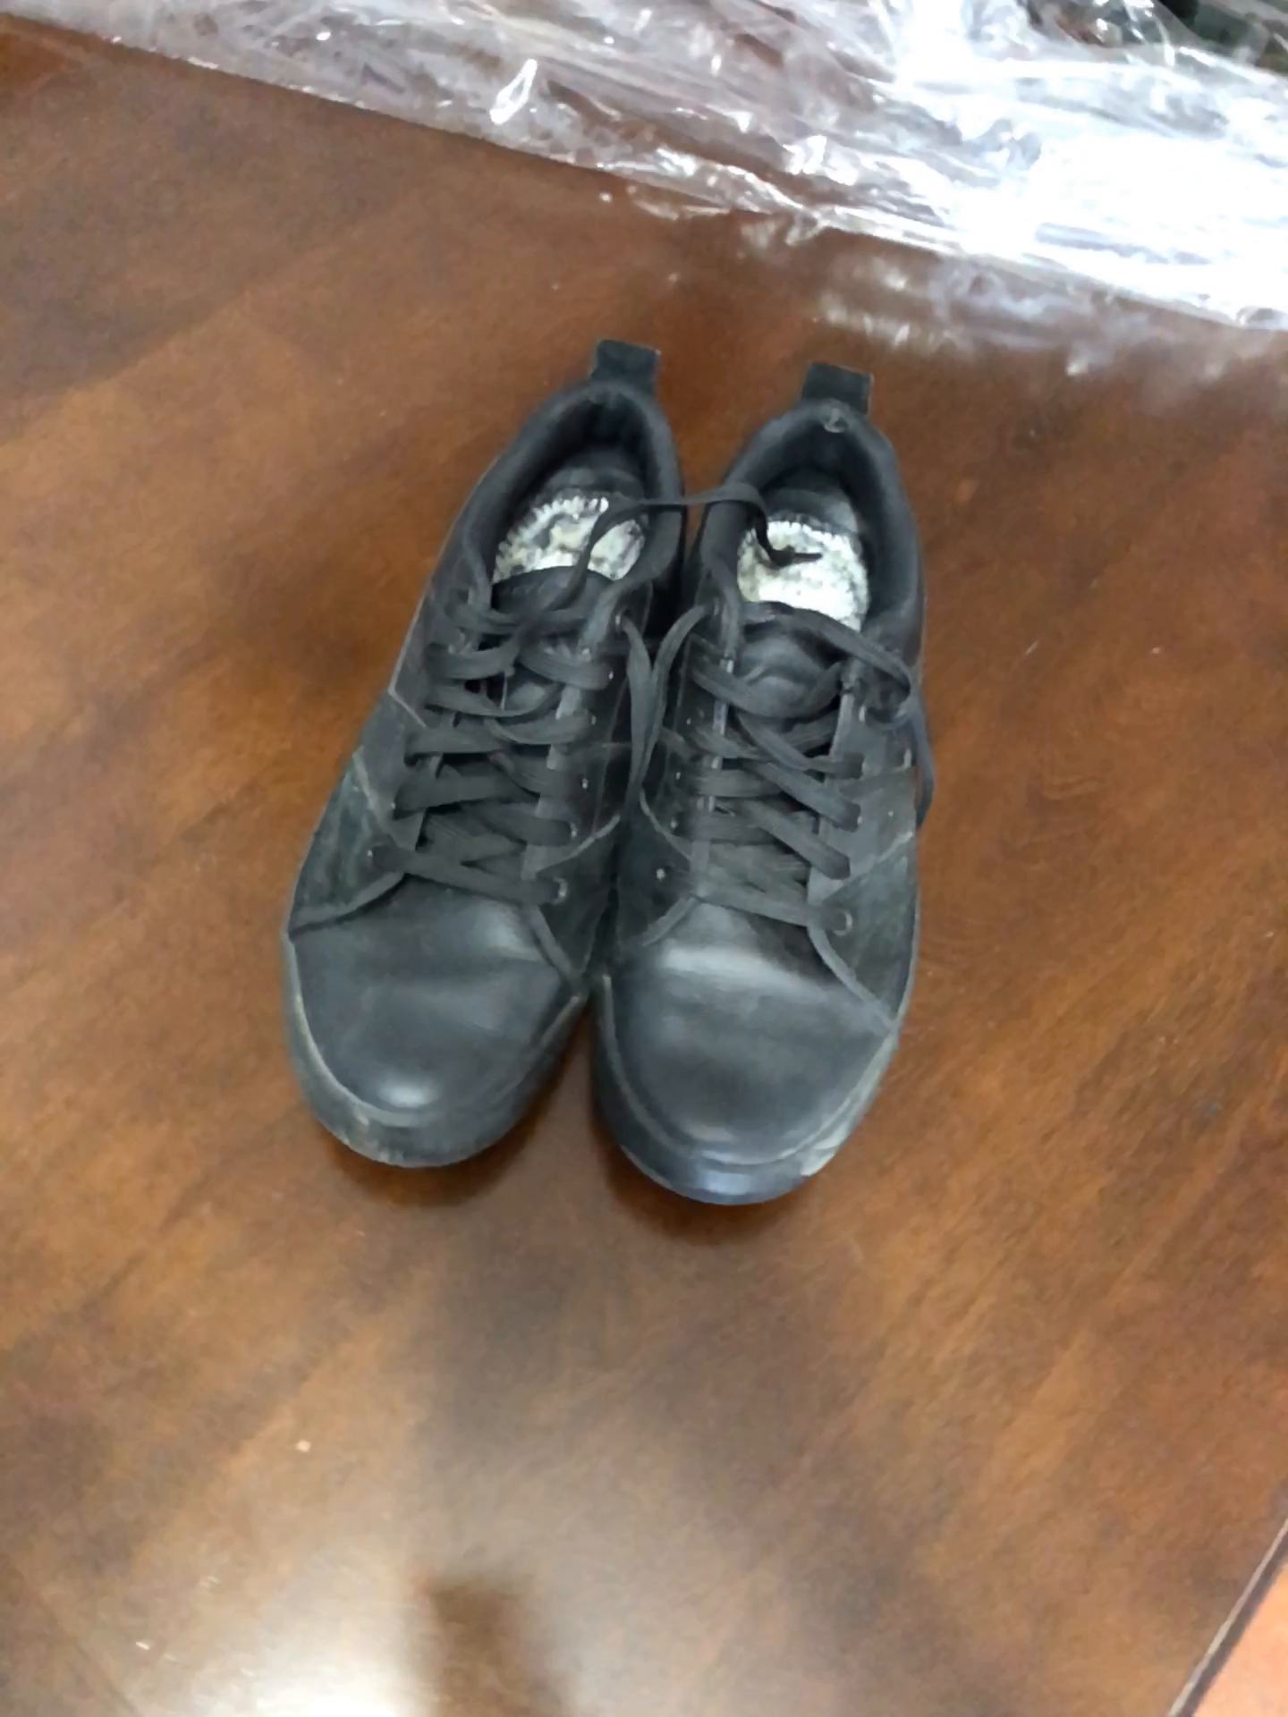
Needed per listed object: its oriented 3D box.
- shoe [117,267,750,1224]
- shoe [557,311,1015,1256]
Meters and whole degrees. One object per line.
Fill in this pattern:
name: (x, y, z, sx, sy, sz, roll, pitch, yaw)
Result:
shoe: (-0.055, -0.047, 0.492, 0.110, 0.110, 0.300, 14, 62, 2)
shoe: (0.053, -0.033, 0.497, 0.110, 0.110, 0.300, 10, 62, 0)
